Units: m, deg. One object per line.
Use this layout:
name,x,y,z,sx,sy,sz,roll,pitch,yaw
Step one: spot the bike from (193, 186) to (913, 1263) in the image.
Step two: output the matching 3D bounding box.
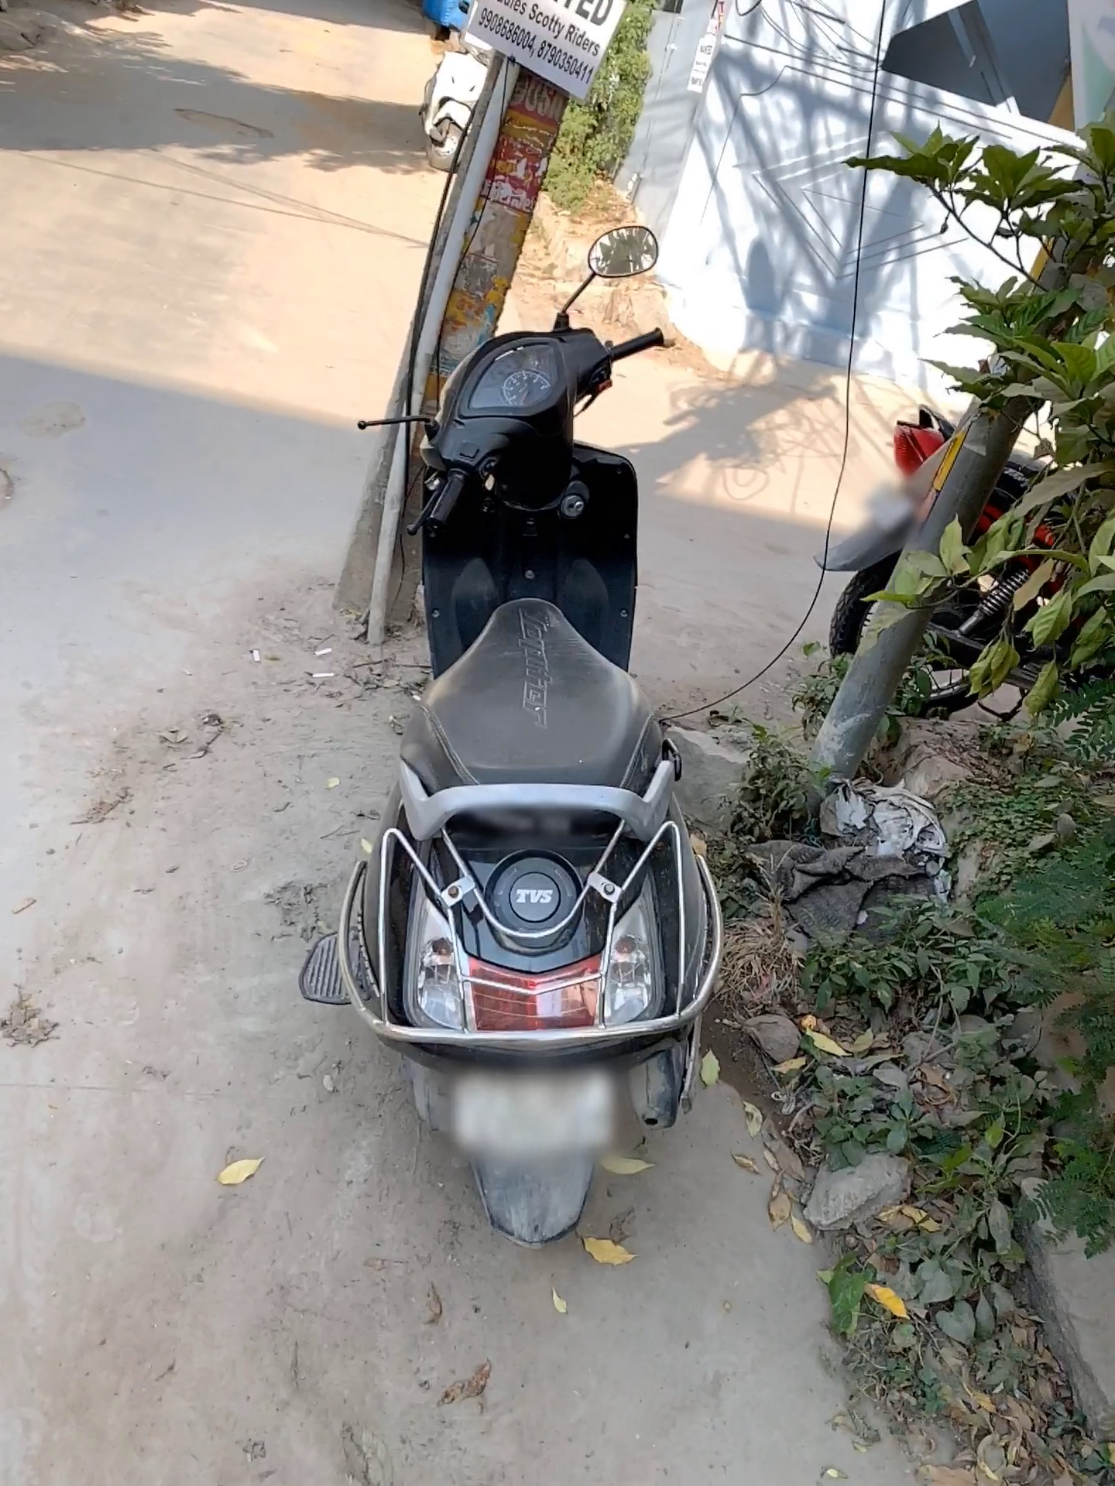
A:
bike,-0.124,-0.234,2.042,0.618,0.944,1.825,10,34,-12
